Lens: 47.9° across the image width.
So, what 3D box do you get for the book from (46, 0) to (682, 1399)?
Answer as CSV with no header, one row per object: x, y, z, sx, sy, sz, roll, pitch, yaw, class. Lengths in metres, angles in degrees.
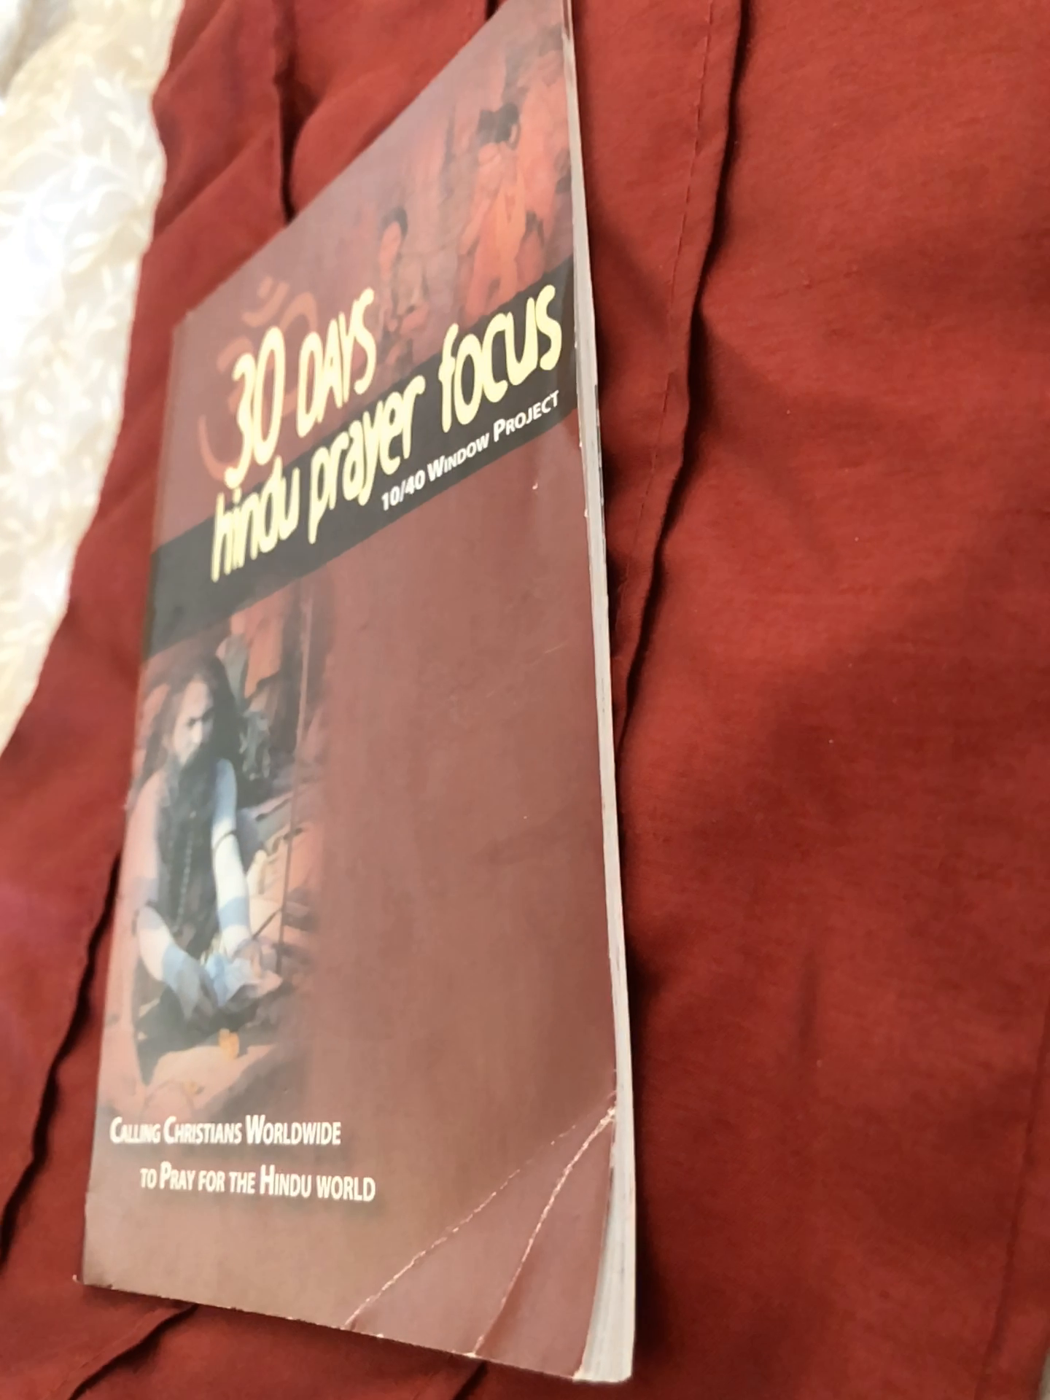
-0.039,-0.006,0.211,0.142,0.010,0.210,-19,64,42,book
